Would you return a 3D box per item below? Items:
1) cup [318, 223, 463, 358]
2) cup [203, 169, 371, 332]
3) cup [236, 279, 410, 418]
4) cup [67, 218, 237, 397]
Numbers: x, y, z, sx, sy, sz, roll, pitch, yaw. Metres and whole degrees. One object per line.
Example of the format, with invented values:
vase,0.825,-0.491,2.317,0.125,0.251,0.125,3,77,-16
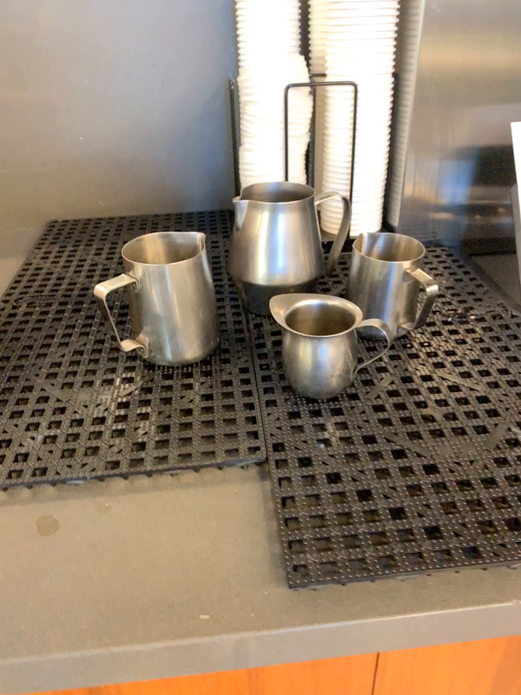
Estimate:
cup,0.122,-0.061,0.533,0.080,0.080,0.111,-18,36,-23
cup,0.027,-0.113,0.604,0.150,0.129,0.101,-14,35,-17
cup,0.053,-0.004,0.456,0.120,0.060,0.080,15,37,24
cup,-0.093,-0.043,0.500,0.080,0.109,0.120,20,39,30
